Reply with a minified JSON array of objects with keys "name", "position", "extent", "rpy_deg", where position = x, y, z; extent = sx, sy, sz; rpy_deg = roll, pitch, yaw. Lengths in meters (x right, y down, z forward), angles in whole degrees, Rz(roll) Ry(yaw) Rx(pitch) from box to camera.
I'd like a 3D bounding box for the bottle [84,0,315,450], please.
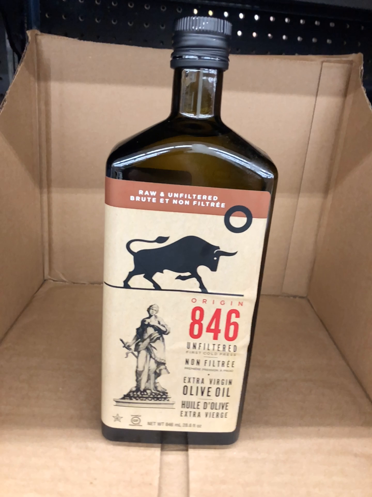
[{"name":"bottle","position":[-0.005,0.001,0.248],"extent":[0.100,0.248,0.060],"rpy_deg":[4,21,-4]}]
